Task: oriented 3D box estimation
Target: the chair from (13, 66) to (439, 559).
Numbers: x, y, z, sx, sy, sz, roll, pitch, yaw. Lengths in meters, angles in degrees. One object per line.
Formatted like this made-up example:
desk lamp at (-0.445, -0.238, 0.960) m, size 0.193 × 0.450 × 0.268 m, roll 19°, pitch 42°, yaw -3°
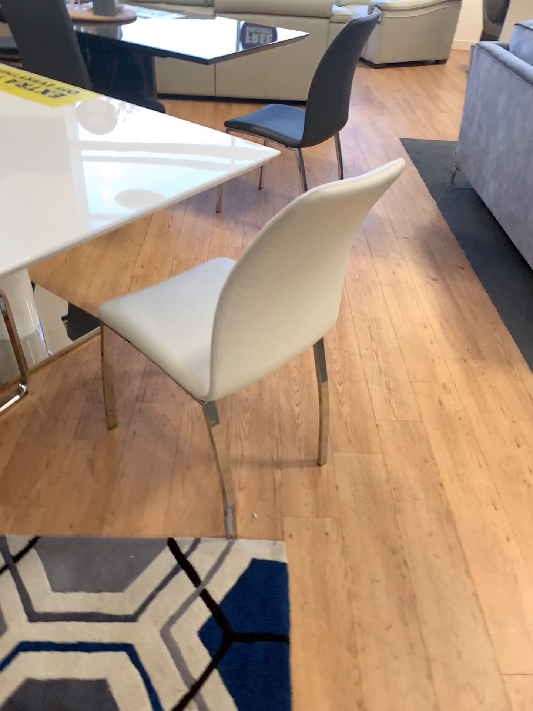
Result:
chair at (-0.105, -0.121, 1.293) m, size 0.631 × 0.863 × 0.518 m, roll 33°, pitch 47°, yaw 31°

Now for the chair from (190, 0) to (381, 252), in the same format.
chair at (0.059, -1.028, 2.364) m, size 0.550 × 0.863 × 0.519 m, roll 27°, pitch 45°, yaw 26°
